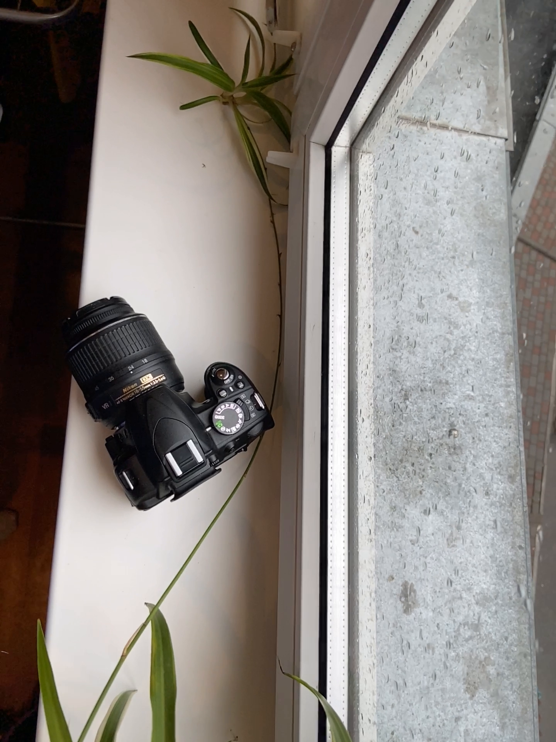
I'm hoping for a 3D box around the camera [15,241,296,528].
[{"bbox_3d":[-0.089,0.012,0.430,0.124,0.091,0.154,-32,88,-16],"label":"camera"}]
